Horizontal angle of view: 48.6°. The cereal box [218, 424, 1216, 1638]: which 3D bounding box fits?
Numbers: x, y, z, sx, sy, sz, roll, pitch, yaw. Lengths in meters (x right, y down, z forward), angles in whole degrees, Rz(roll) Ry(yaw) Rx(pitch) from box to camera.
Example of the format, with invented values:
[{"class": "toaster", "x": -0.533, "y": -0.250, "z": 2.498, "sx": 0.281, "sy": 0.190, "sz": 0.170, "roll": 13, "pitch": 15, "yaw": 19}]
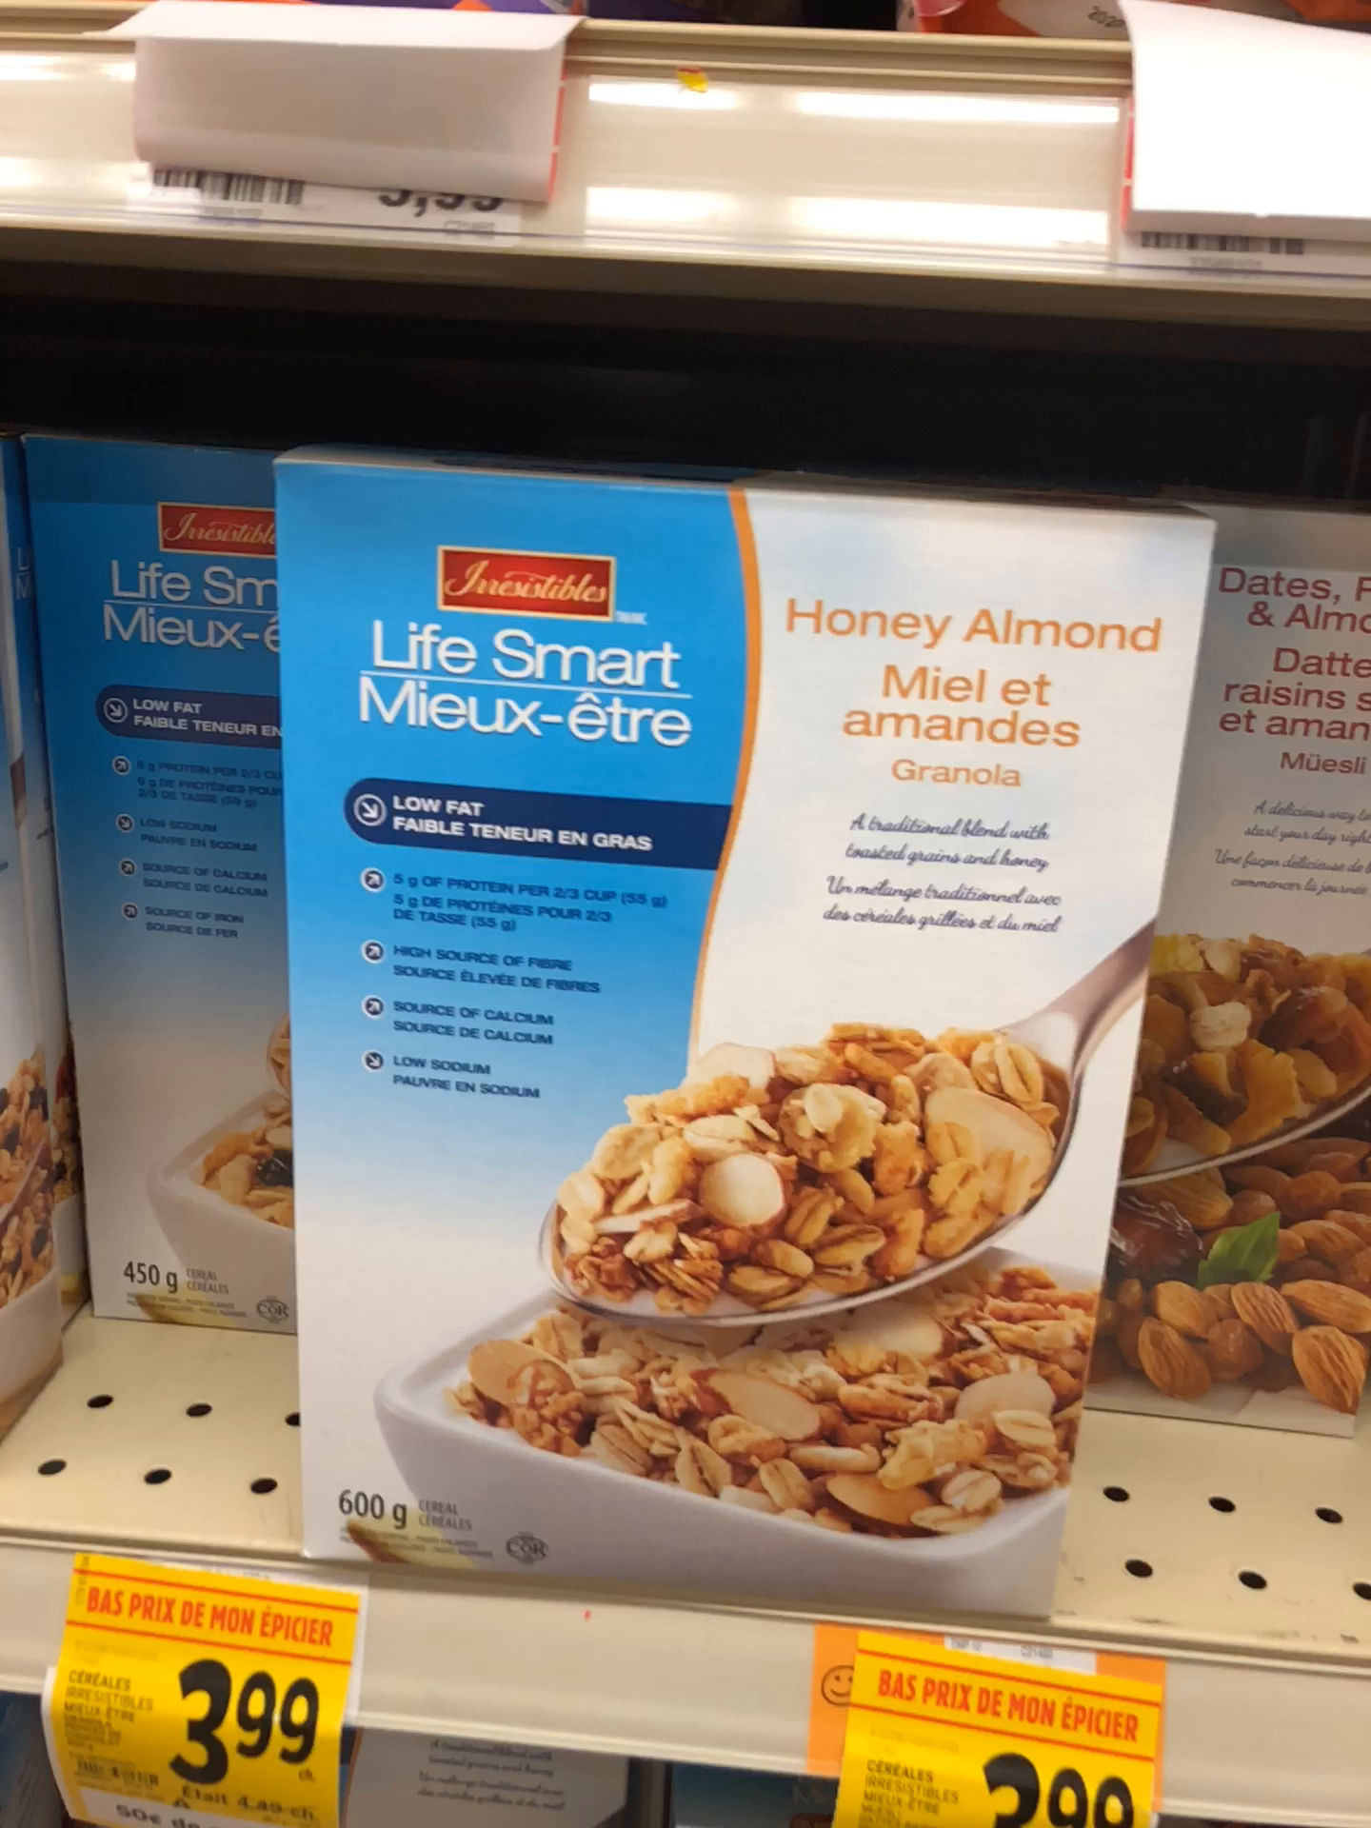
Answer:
[{"class": "cereal box", "x": 0.000, "y": 0.026, "z": 0.323, "sx": 0.170, "sy": 0.239, "sz": 0.060, "roll": 4, "pitch": 18, "yaw": 3}]
